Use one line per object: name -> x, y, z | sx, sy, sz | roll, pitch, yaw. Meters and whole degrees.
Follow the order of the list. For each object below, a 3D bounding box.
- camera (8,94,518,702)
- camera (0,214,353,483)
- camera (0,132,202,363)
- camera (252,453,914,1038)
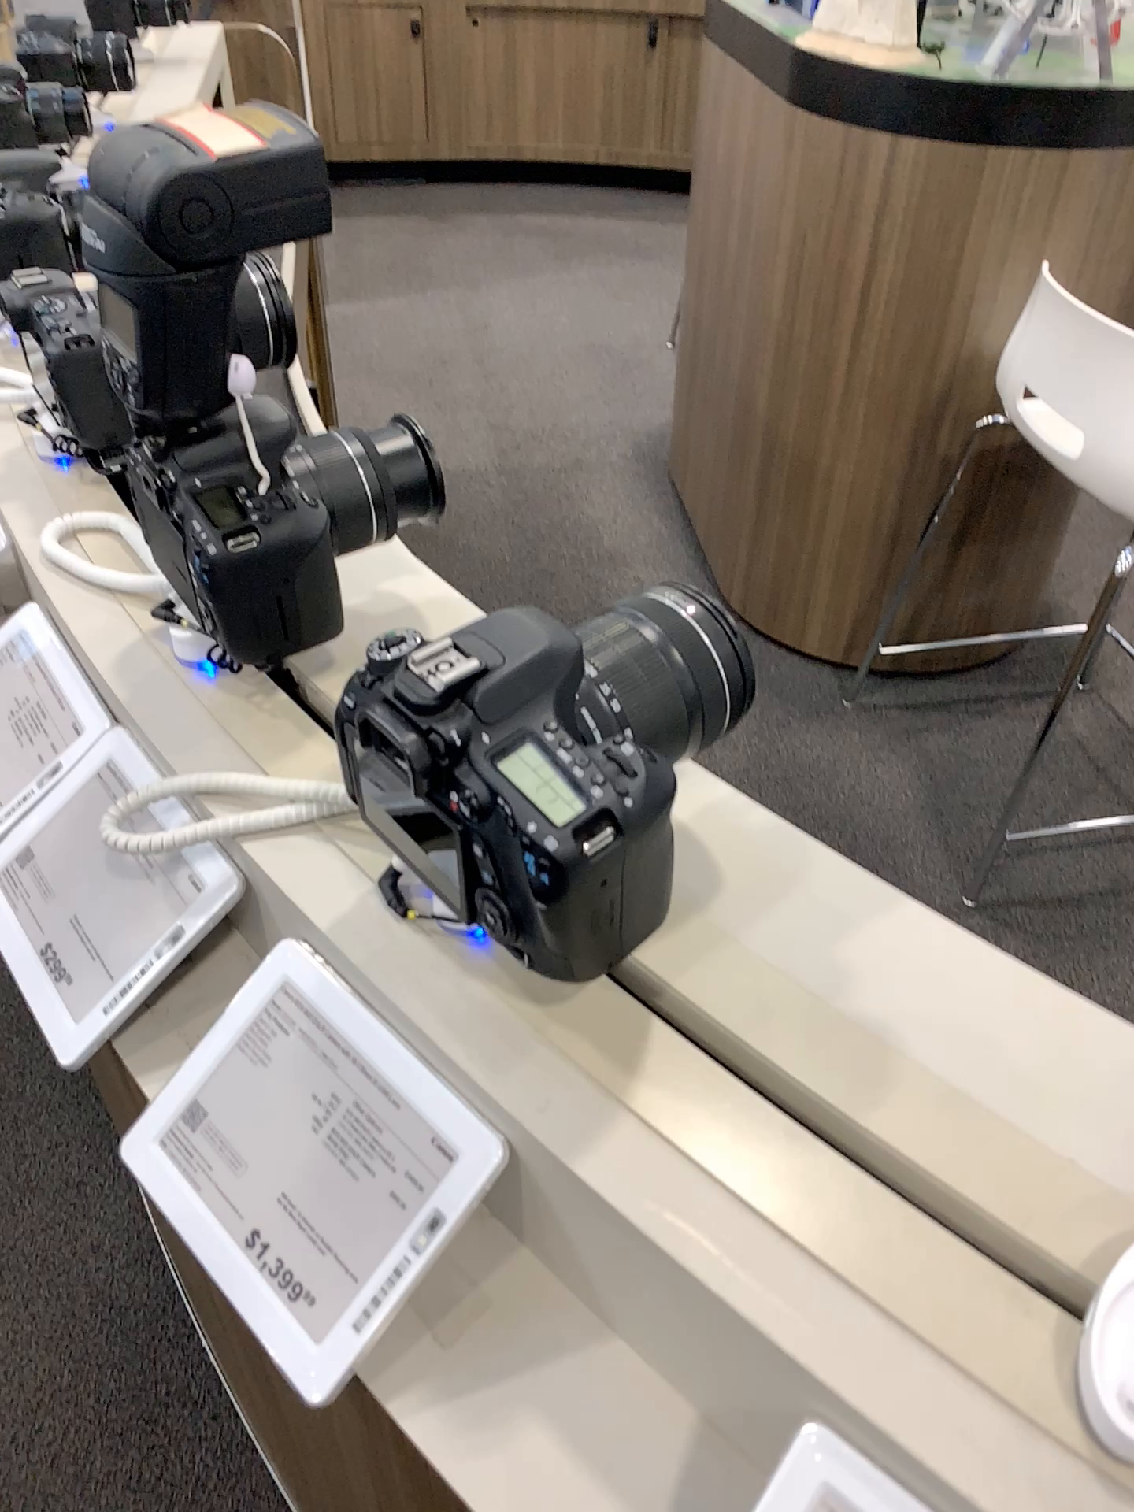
camera -> -0.137, -0.181, 0.575 | 0.170, 0.219, 0.151 | -23, 46, -26
camera -> -0.275, -0.288, 0.799 | 0.200, 0.099, 0.141 | -23, 46, -25
camera -> -0.409, -0.420, 0.947 | 0.170, 0.119, 0.151 | -15, 43, -18
camera -> 0.007, -0.018, 0.444 | 0.190, 0.099, 0.141 | -28, 49, -30
